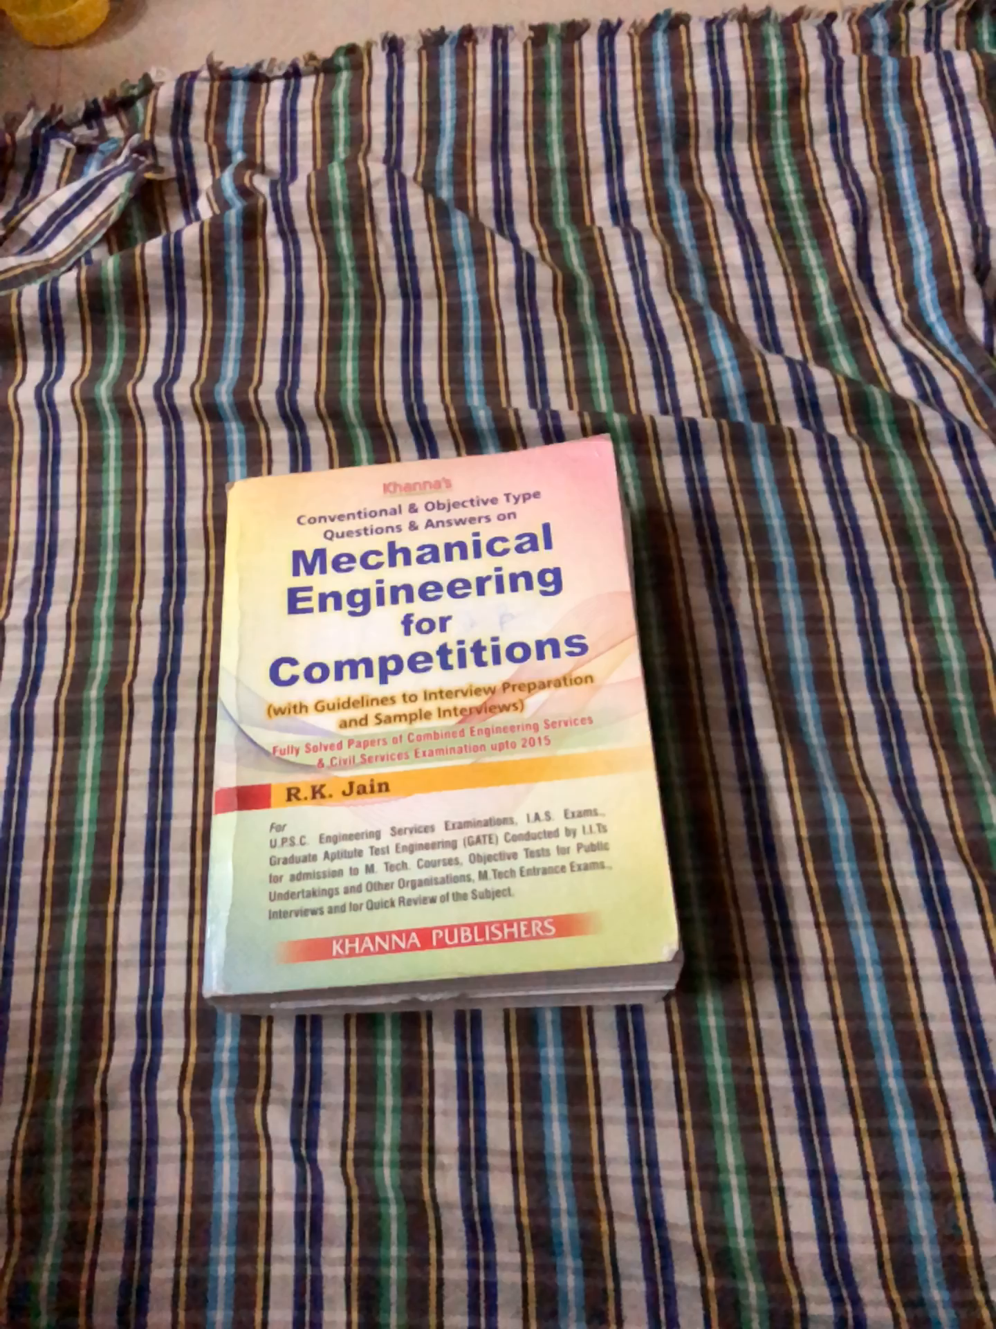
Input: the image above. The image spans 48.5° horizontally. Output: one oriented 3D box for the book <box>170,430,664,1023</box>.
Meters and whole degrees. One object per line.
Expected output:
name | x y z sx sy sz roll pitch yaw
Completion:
book | -0.038 0.026 0.563 0.210 0.078 0.280 -4 65 2
